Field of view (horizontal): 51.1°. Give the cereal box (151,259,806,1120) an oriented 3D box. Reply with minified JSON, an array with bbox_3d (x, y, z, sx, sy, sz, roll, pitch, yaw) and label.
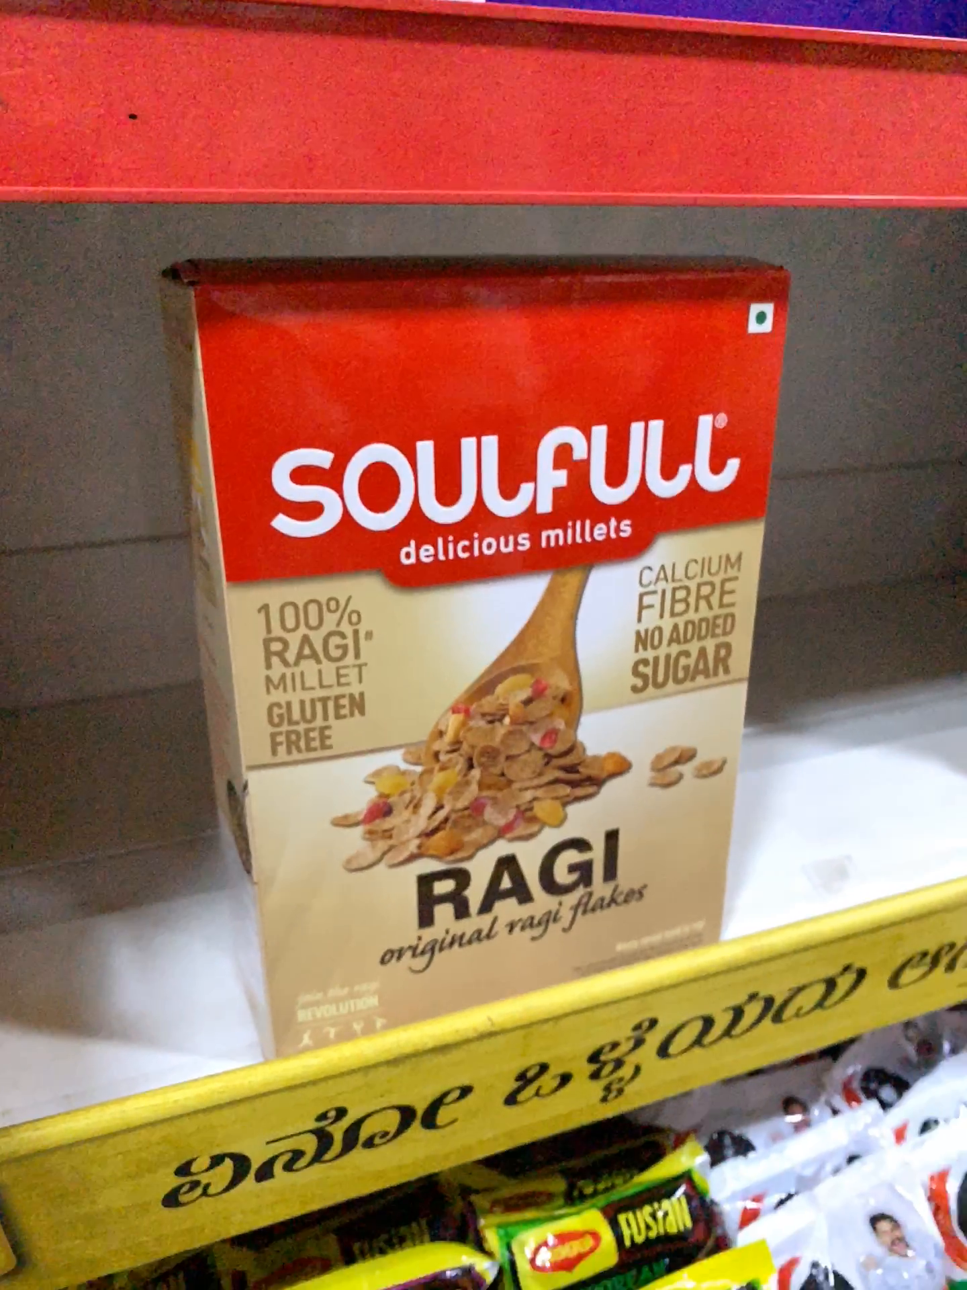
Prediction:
[{"bbox_3d":[-0.001,0.011,0.326,0.170,0.248,0.060,-9,24,-20],"label":"cereal box"}]
